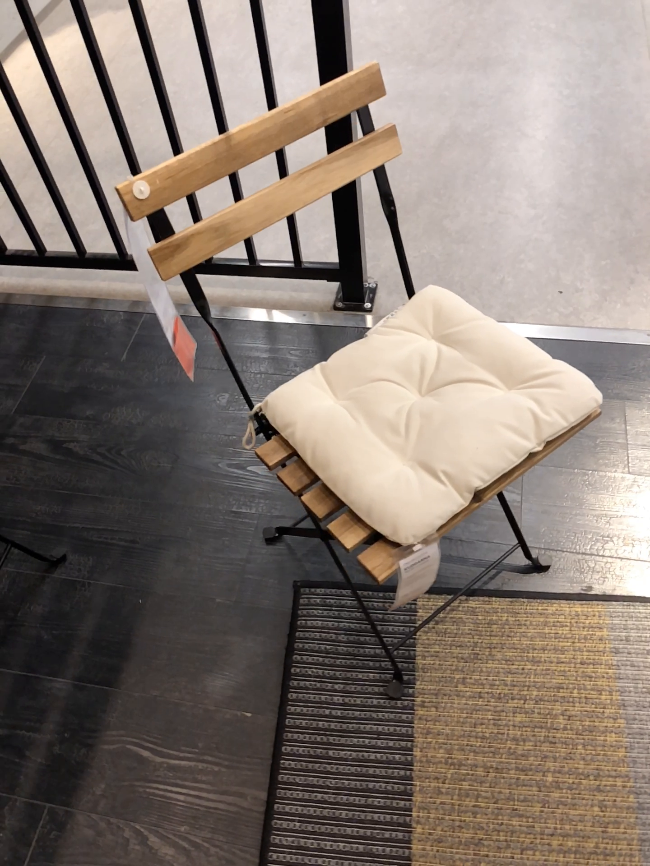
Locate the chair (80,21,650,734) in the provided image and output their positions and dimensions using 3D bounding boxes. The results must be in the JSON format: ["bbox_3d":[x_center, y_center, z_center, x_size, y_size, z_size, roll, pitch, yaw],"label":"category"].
[{"bbox_3d":[0.100,-0.027,0.993,0.450,0.758,0.461,-34,55,-18],"label":"chair"}]
